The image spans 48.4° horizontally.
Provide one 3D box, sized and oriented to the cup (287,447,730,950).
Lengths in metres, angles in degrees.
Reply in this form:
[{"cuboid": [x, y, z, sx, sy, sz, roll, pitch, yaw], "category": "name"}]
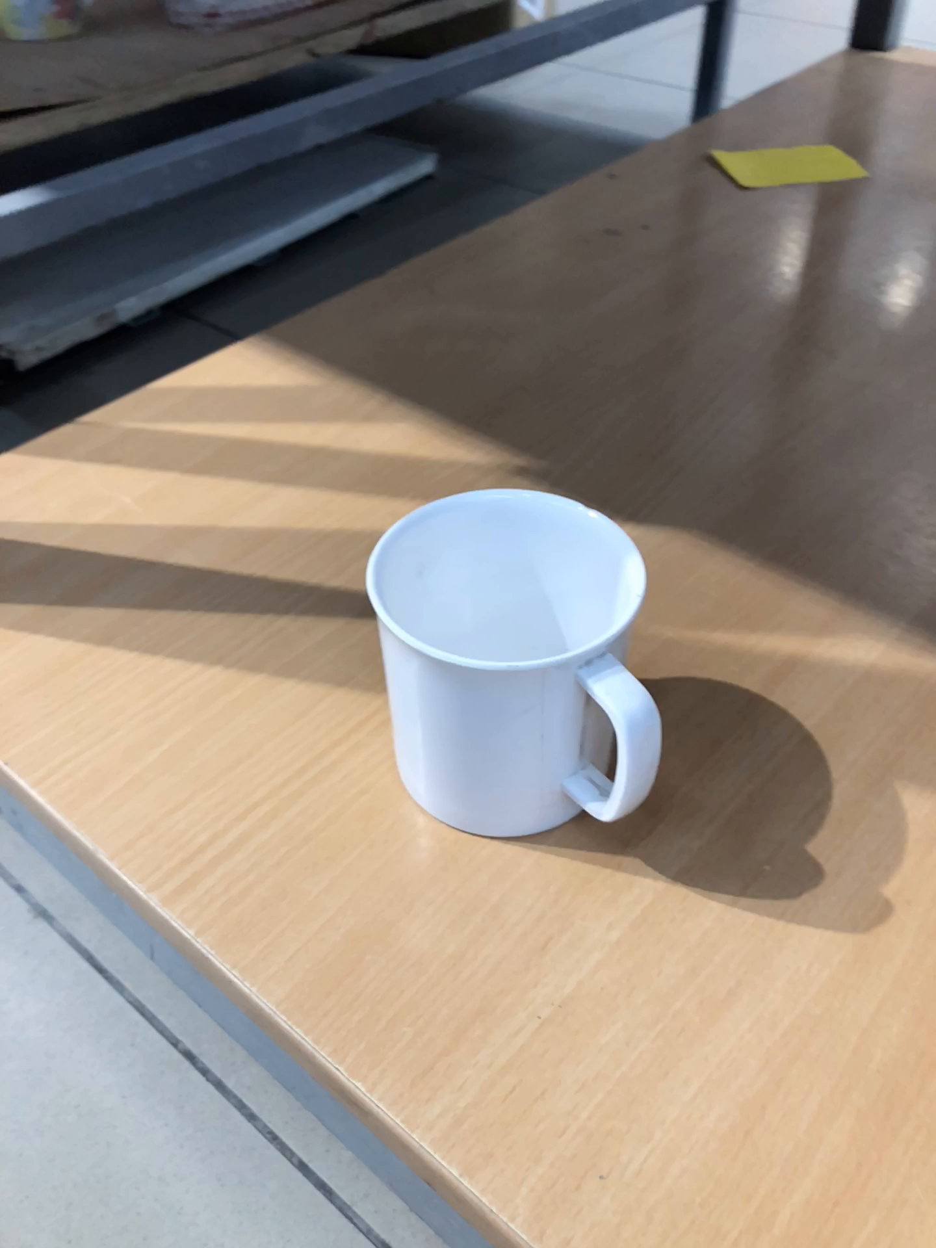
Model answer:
[{"cuboid": [0.009, 0.019, 0.334, 0.080, 0.089, 0.110, -25, 47, -24], "category": "cup"}]
